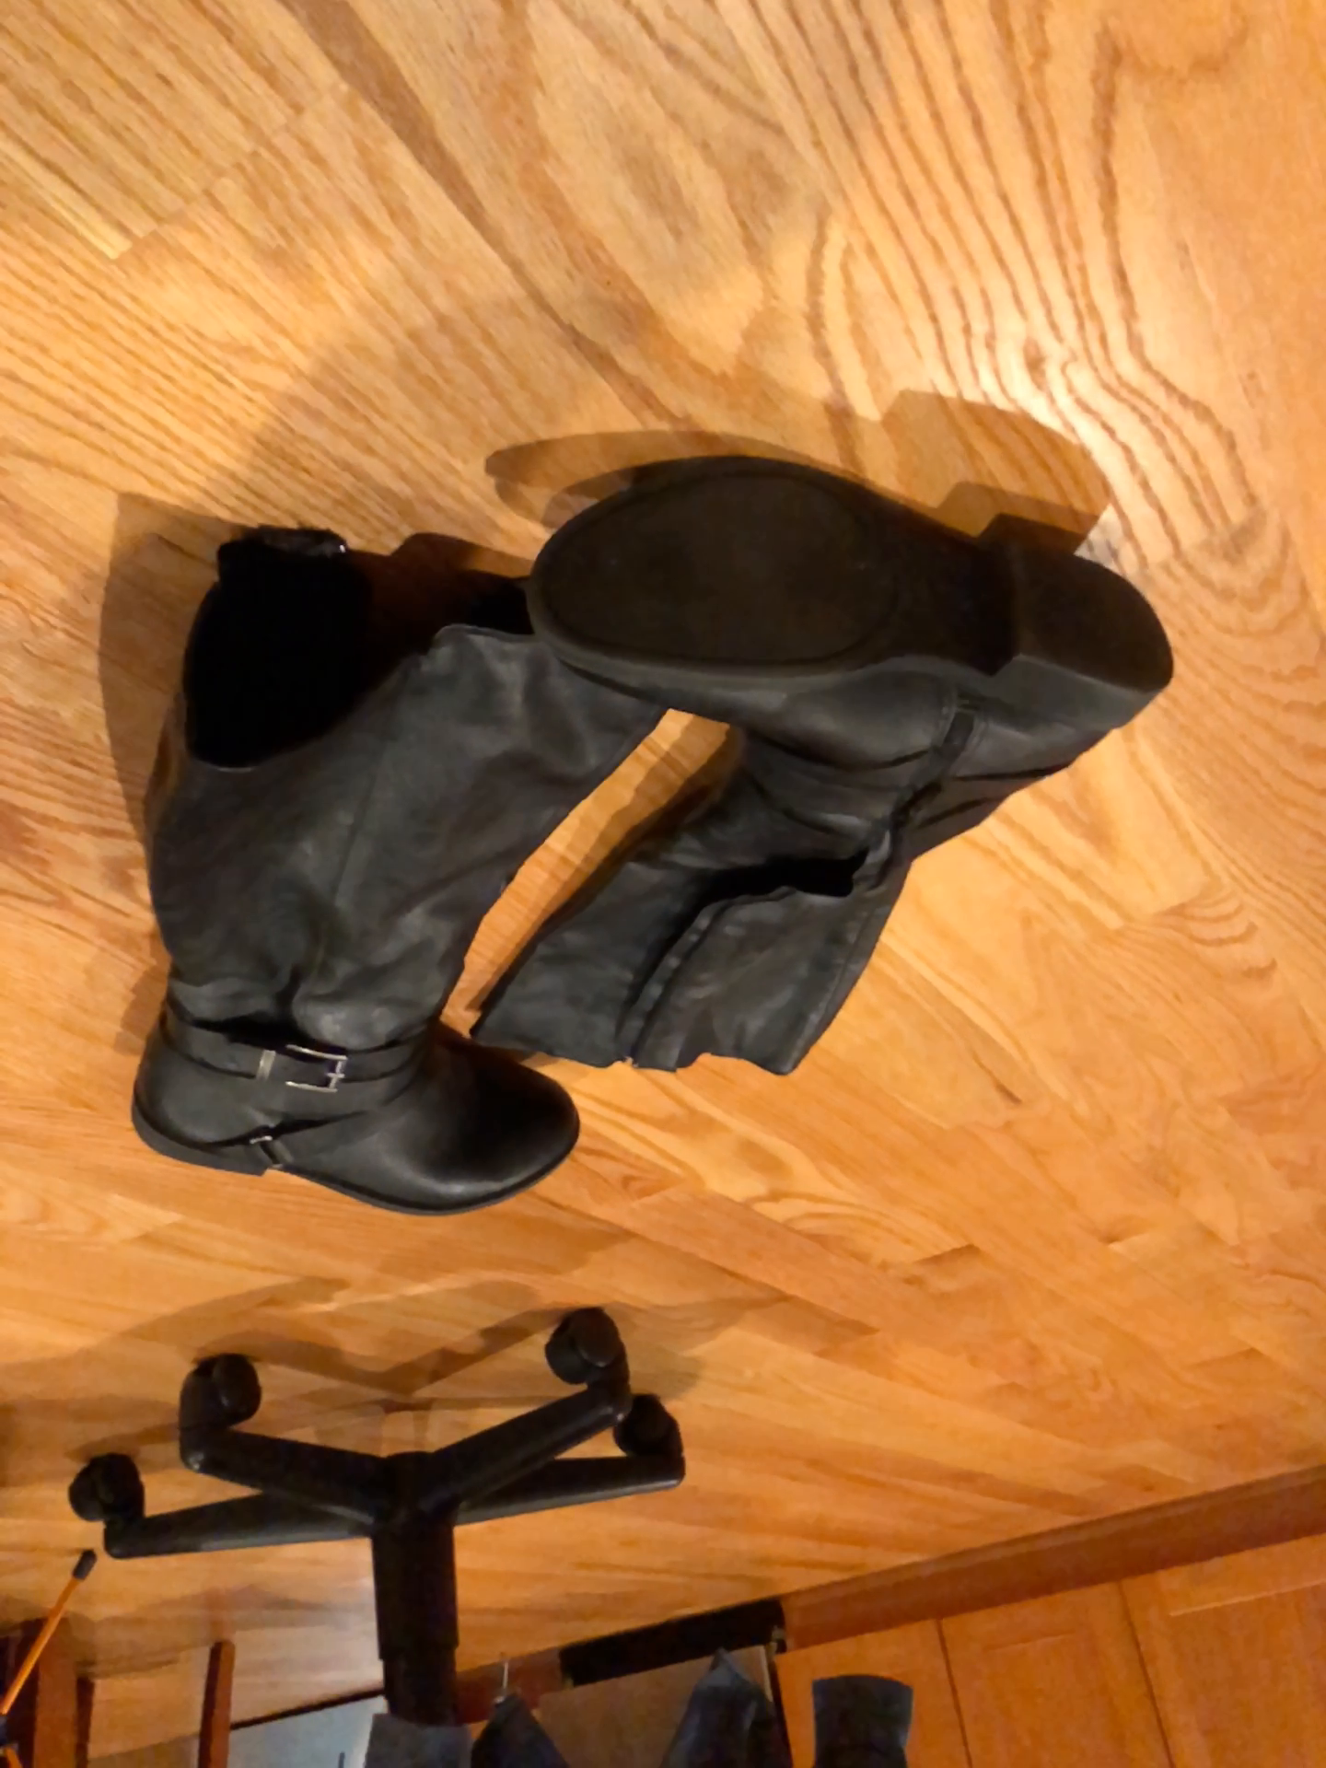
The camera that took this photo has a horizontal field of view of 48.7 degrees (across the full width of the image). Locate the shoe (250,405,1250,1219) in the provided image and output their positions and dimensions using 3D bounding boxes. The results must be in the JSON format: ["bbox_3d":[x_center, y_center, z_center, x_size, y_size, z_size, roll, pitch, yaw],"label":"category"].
[{"bbox_3d":[0.000,0.017,0.620,0.251,0.094,0.394,9,143,-27],"label":"shoe"}]

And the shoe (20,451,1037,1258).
[{"bbox_3d":[-0.092,0.038,0.628,0.291,0.104,0.404,8,144,-26],"label":"shoe"}]
